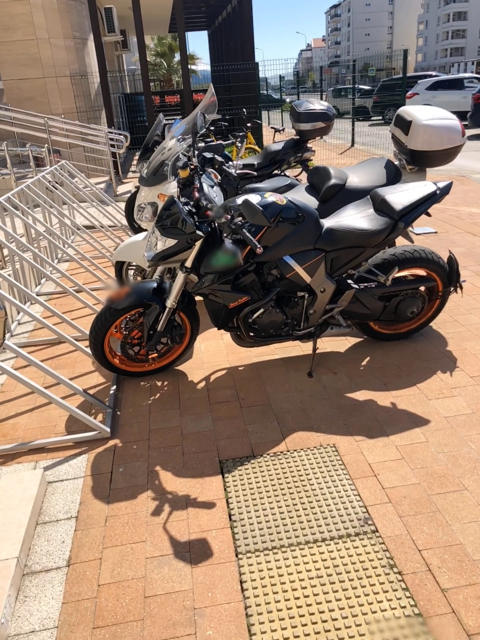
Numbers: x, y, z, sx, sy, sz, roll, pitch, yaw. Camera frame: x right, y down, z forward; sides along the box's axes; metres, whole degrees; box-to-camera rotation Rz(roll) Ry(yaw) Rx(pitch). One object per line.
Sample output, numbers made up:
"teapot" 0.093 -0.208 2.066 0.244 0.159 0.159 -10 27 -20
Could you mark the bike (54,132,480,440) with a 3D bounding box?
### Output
"bike" 0.212 -0.256 2.675 1.949 1.170 0.799 -7 23 -9
